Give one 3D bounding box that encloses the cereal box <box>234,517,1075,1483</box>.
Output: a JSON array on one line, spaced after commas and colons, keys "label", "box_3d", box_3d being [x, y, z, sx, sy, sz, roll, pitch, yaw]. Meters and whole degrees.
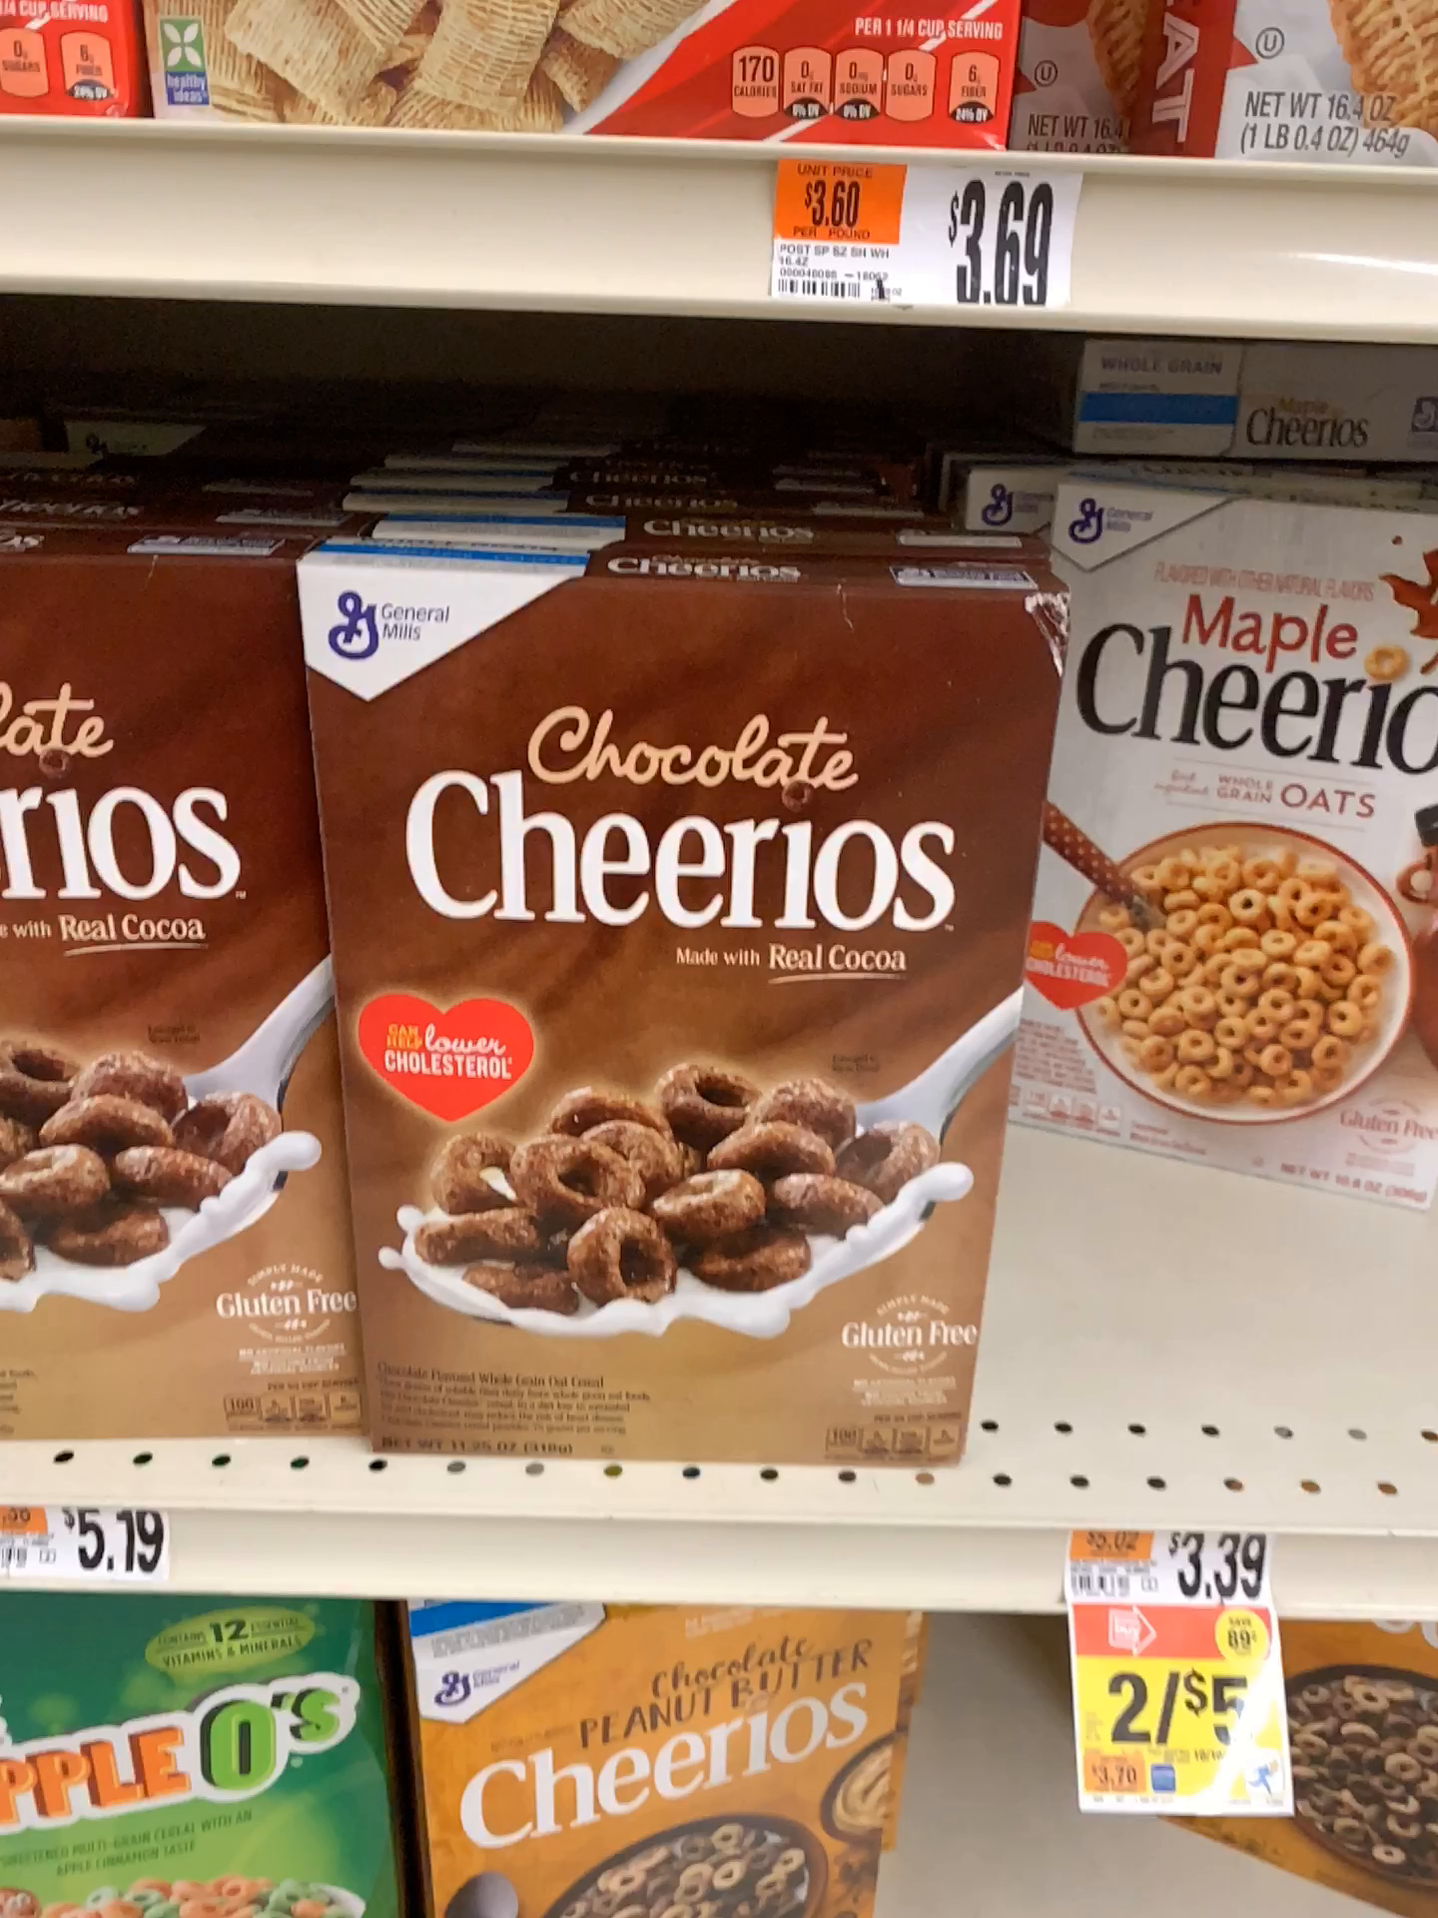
[{"label": "cereal box", "box_3d": [-0.021, 0.025, 0.460, 0.210, 0.298, 0.060, 2, 26, 0]}]
